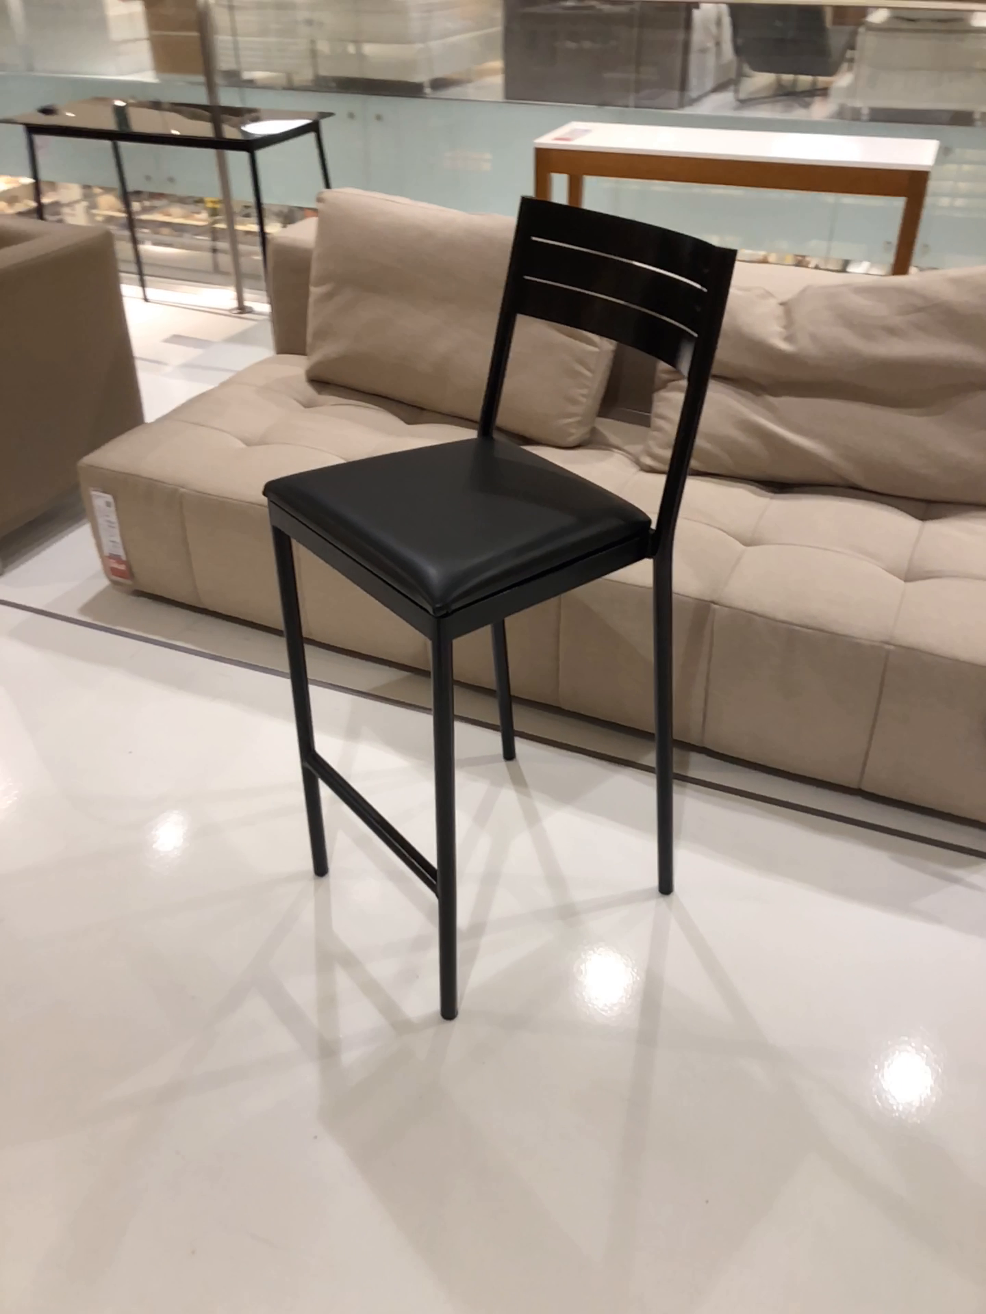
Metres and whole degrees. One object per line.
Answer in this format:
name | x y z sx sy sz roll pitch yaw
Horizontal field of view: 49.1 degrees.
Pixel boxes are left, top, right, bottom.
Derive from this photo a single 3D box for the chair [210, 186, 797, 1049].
chair | 0.013 -0.050 1.421 0.471 0.942 0.422 -25 41 -31
